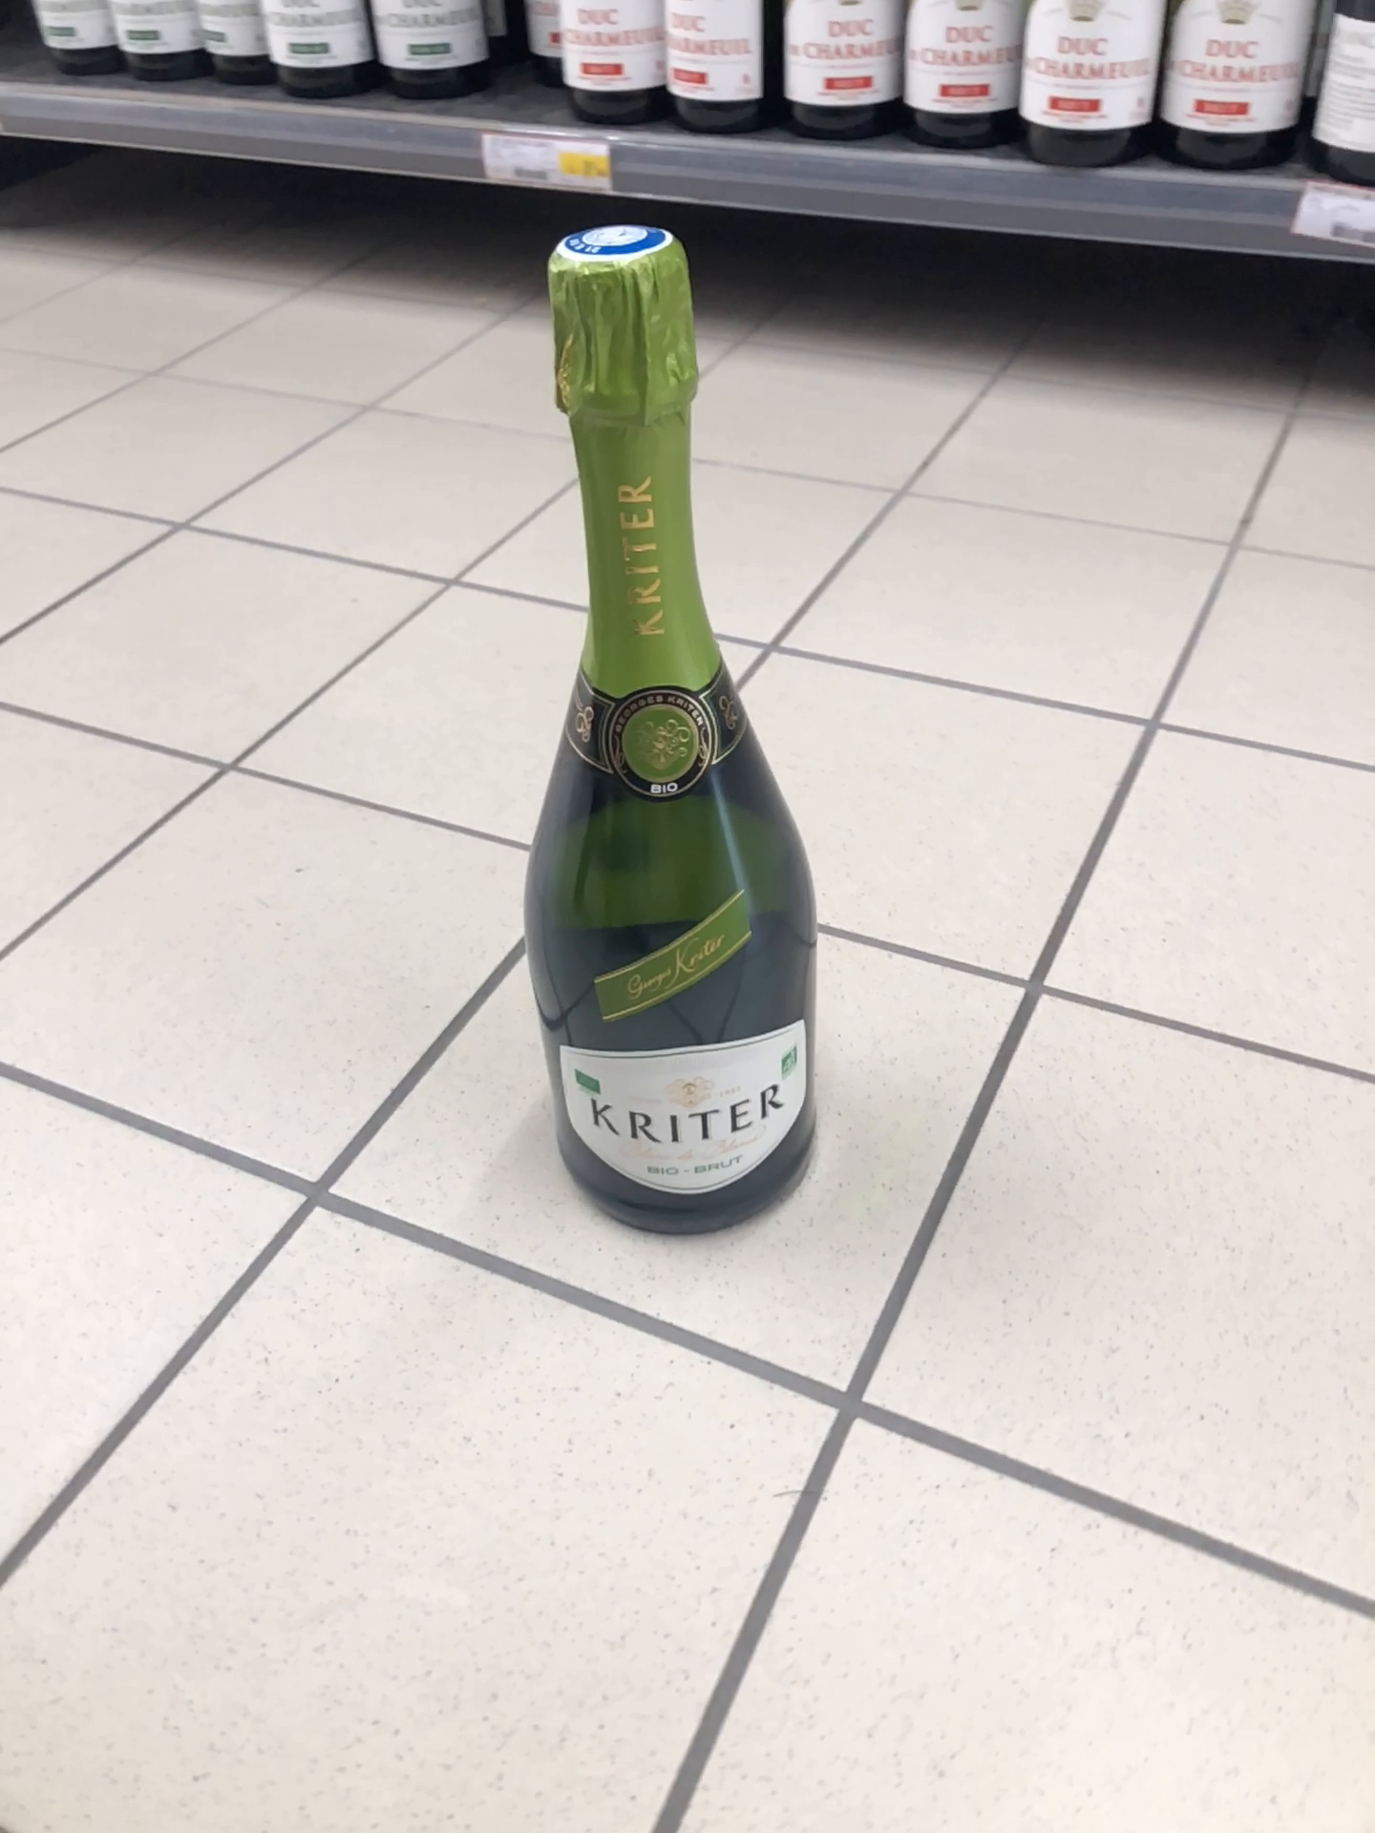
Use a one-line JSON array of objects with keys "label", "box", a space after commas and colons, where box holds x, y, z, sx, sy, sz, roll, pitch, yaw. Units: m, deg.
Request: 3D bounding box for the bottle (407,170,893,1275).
[{"label": "bottle", "box": [-0.005, -0.036, 0.441, 0.100, 0.308, 0.091, -6, 39, -4]}]
